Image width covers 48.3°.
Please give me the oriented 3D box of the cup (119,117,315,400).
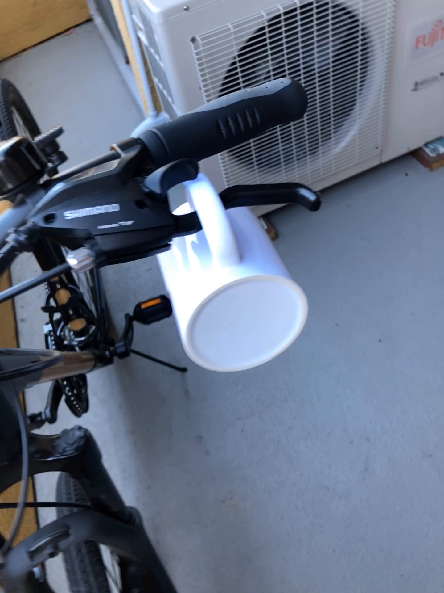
[{"bbox_3d":[-0.004,-0.025,0.325,0.090,0.120,0.120,-13,47,-4],"label":"cup"}]
